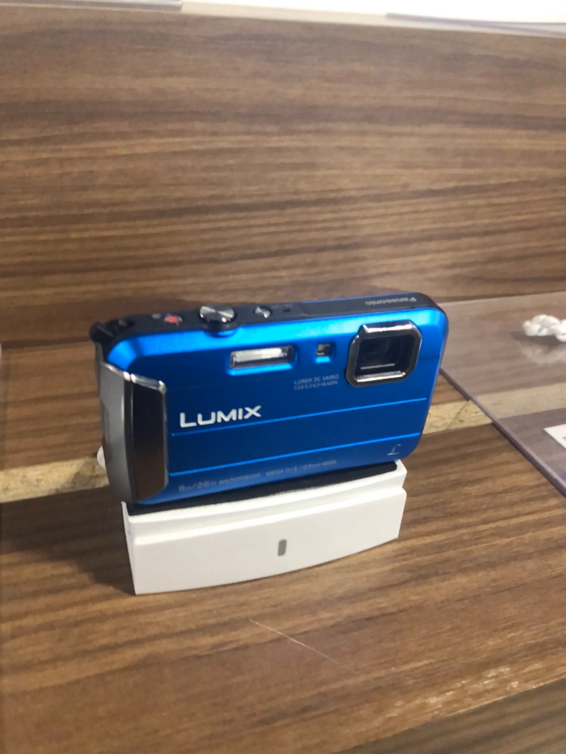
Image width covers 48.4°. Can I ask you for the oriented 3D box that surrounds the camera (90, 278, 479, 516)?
[{"bbox_3d":[0.000,0.004,0.180,0.100,0.051,0.023,-8,37,-18],"label":"camera"}]
